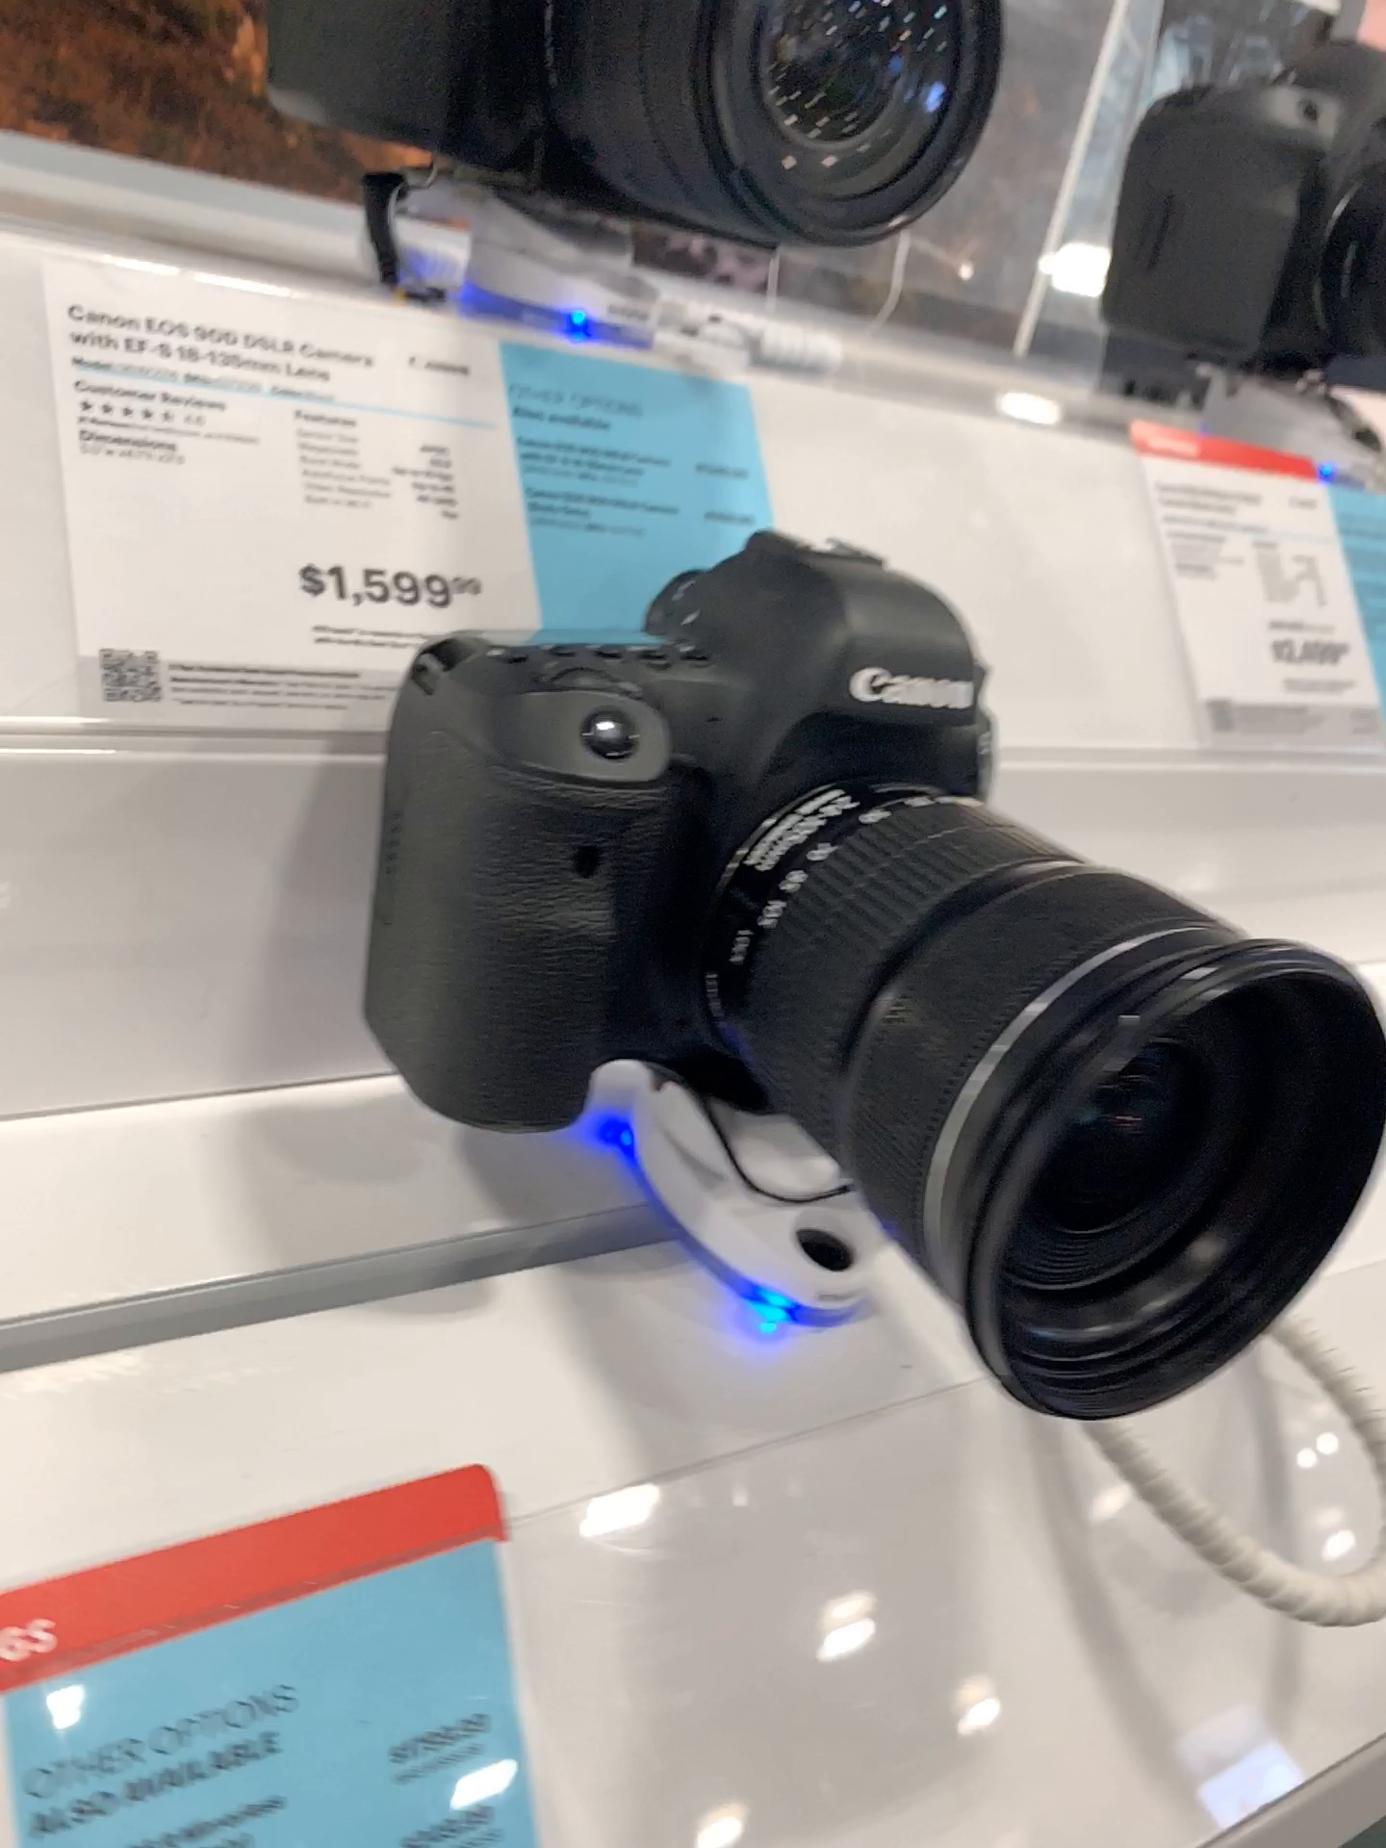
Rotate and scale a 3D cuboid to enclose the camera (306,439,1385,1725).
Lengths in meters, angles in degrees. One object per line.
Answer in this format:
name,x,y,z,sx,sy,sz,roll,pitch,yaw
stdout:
camera,0.028,0.003,0.263,0.137,0.123,0.180,-3,30,-31
